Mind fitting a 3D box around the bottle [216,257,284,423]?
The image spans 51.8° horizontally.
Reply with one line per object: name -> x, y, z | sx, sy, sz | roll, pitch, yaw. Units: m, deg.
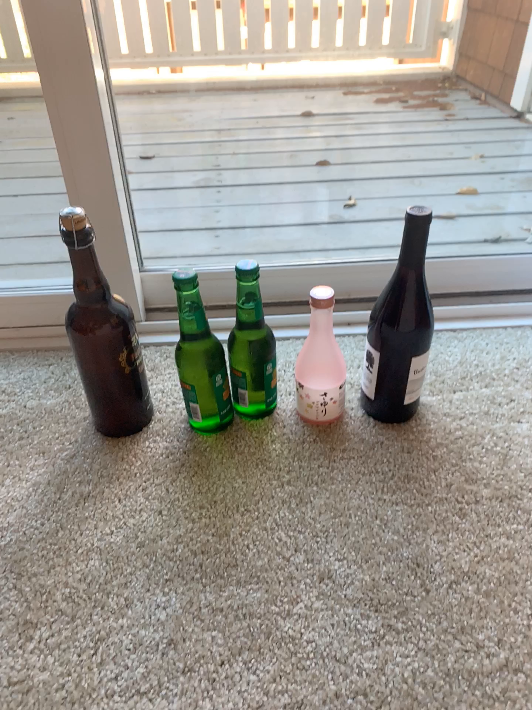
bottle -> -0.018, -0.015, 0.681 | 0.070, 0.189, 0.081 | -5, 37, -5

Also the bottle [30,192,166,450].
bottle -> -0.189, -0.032, 0.642 | 0.090, 0.278, 0.101 | -12, 38, -14

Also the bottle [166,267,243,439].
bottle -> -0.073, 0.001, 0.662 | 0.070, 0.189, 0.081 | -7, 38, -7

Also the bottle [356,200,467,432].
bottle -> 0.171, -0.042, 0.664 | 0.090, 0.248, 0.111 | 9, 39, 14

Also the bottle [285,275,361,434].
bottle -> 0.068, 0.001, 0.664 | 0.070, 0.169, 0.080 | 9, 39, 14
